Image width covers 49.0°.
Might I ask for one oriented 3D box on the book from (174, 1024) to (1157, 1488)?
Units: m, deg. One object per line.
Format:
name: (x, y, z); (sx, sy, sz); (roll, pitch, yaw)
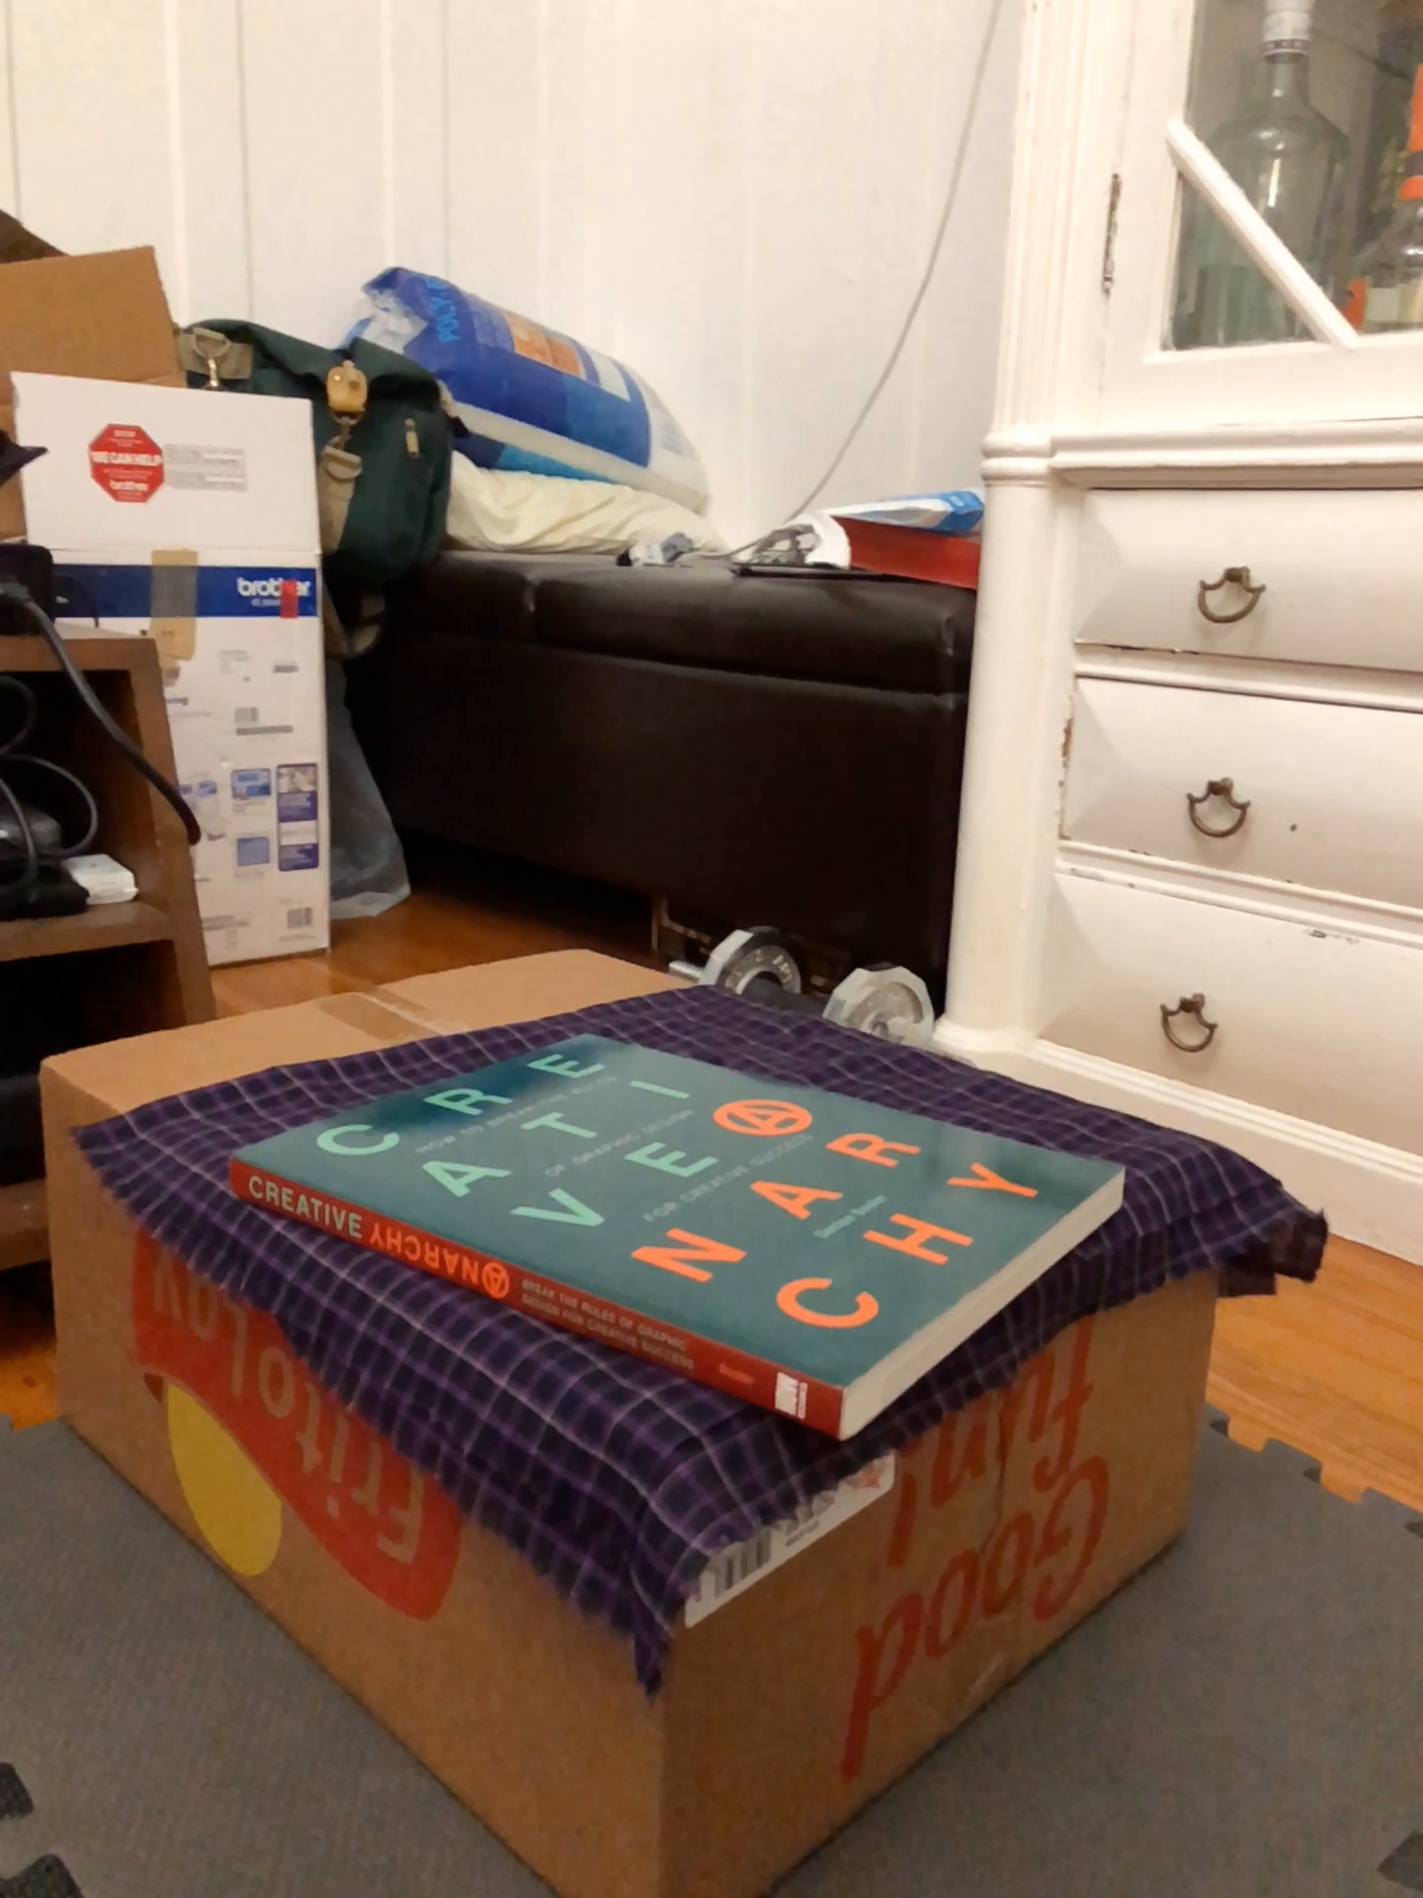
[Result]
book: (-0.016, 0.091, 0.593); (0.300, 0.020, 0.221); (12, 17, 33)
